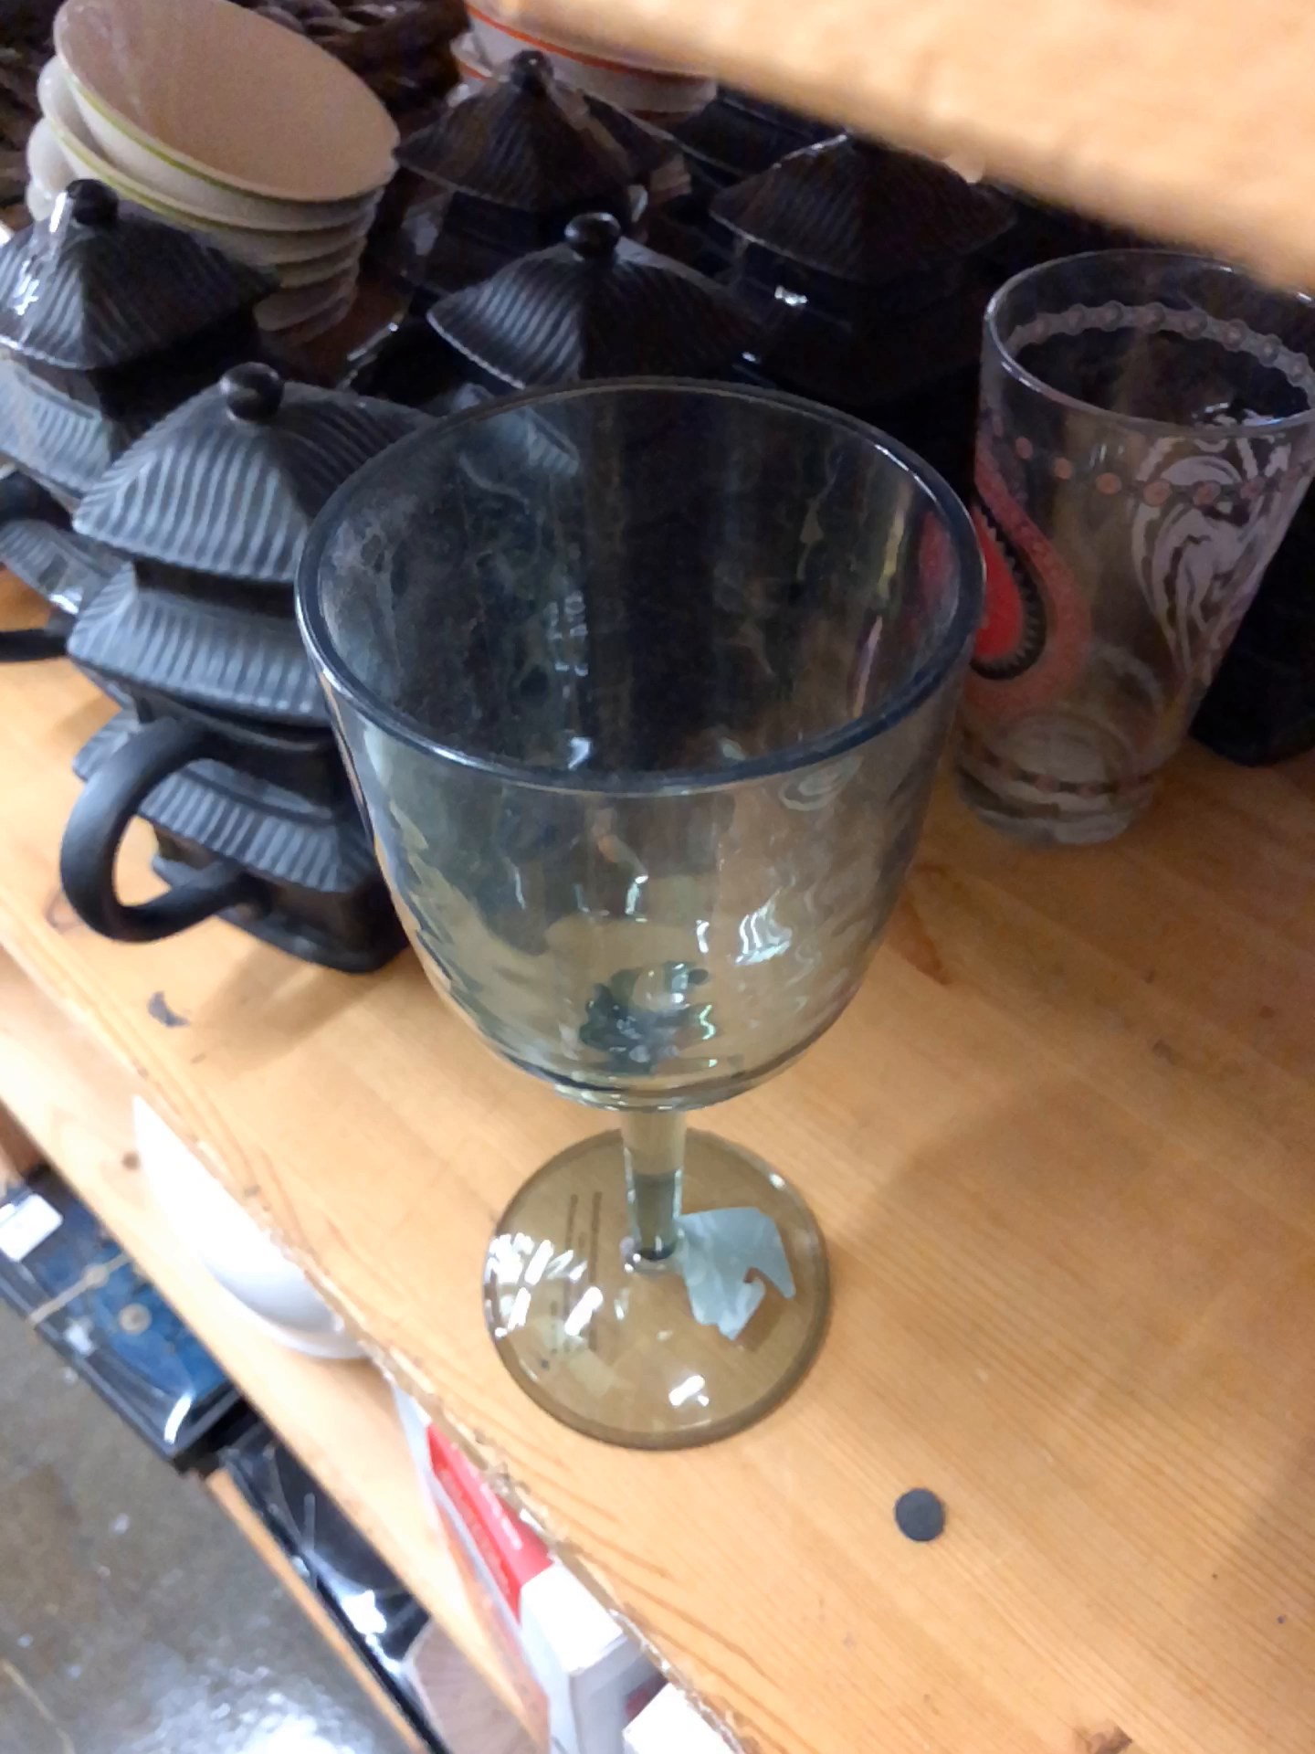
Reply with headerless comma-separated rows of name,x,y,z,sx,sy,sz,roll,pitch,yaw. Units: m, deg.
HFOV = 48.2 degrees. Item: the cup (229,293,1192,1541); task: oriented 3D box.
cup,0.005,0.021,0.272,0.094,0.204,0.091,0,47,0
